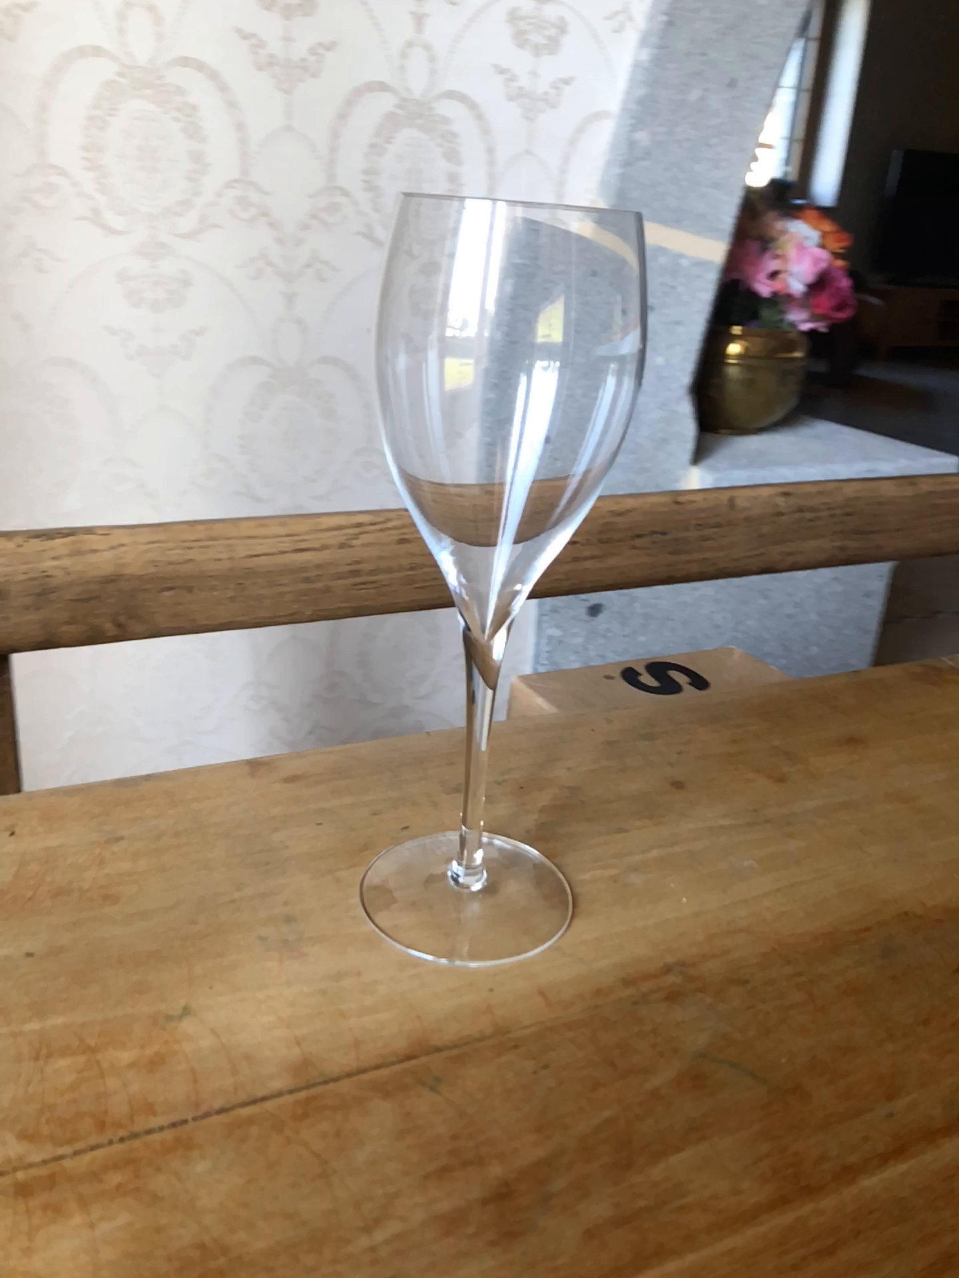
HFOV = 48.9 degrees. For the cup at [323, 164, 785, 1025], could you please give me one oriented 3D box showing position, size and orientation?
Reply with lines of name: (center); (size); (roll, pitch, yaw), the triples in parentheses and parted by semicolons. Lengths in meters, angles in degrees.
cup: (0.013, -0.016, 0.296); (0.080, 0.209, 0.080); (3, 21, -1)
